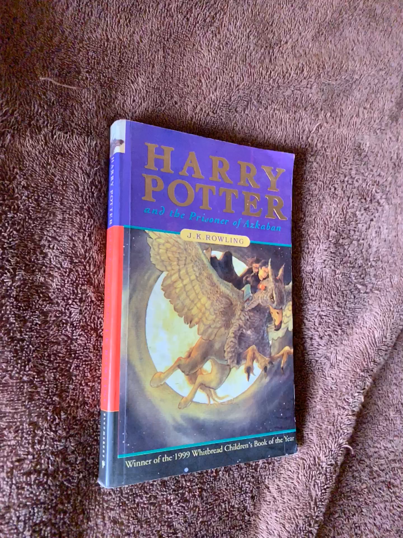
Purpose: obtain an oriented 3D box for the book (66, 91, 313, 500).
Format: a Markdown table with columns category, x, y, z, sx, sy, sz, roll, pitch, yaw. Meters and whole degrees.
| category | x | y | z | sx | sy | sz | roll | pitch | yaw |
| --- | --- | --- | --- | --- | --- | --- | --- | --- | --- |
| book | 0.000 | 0.011 | 0.223 | 0.130 | 0.020 | 0.180 | 3 | 84 | -27 |
